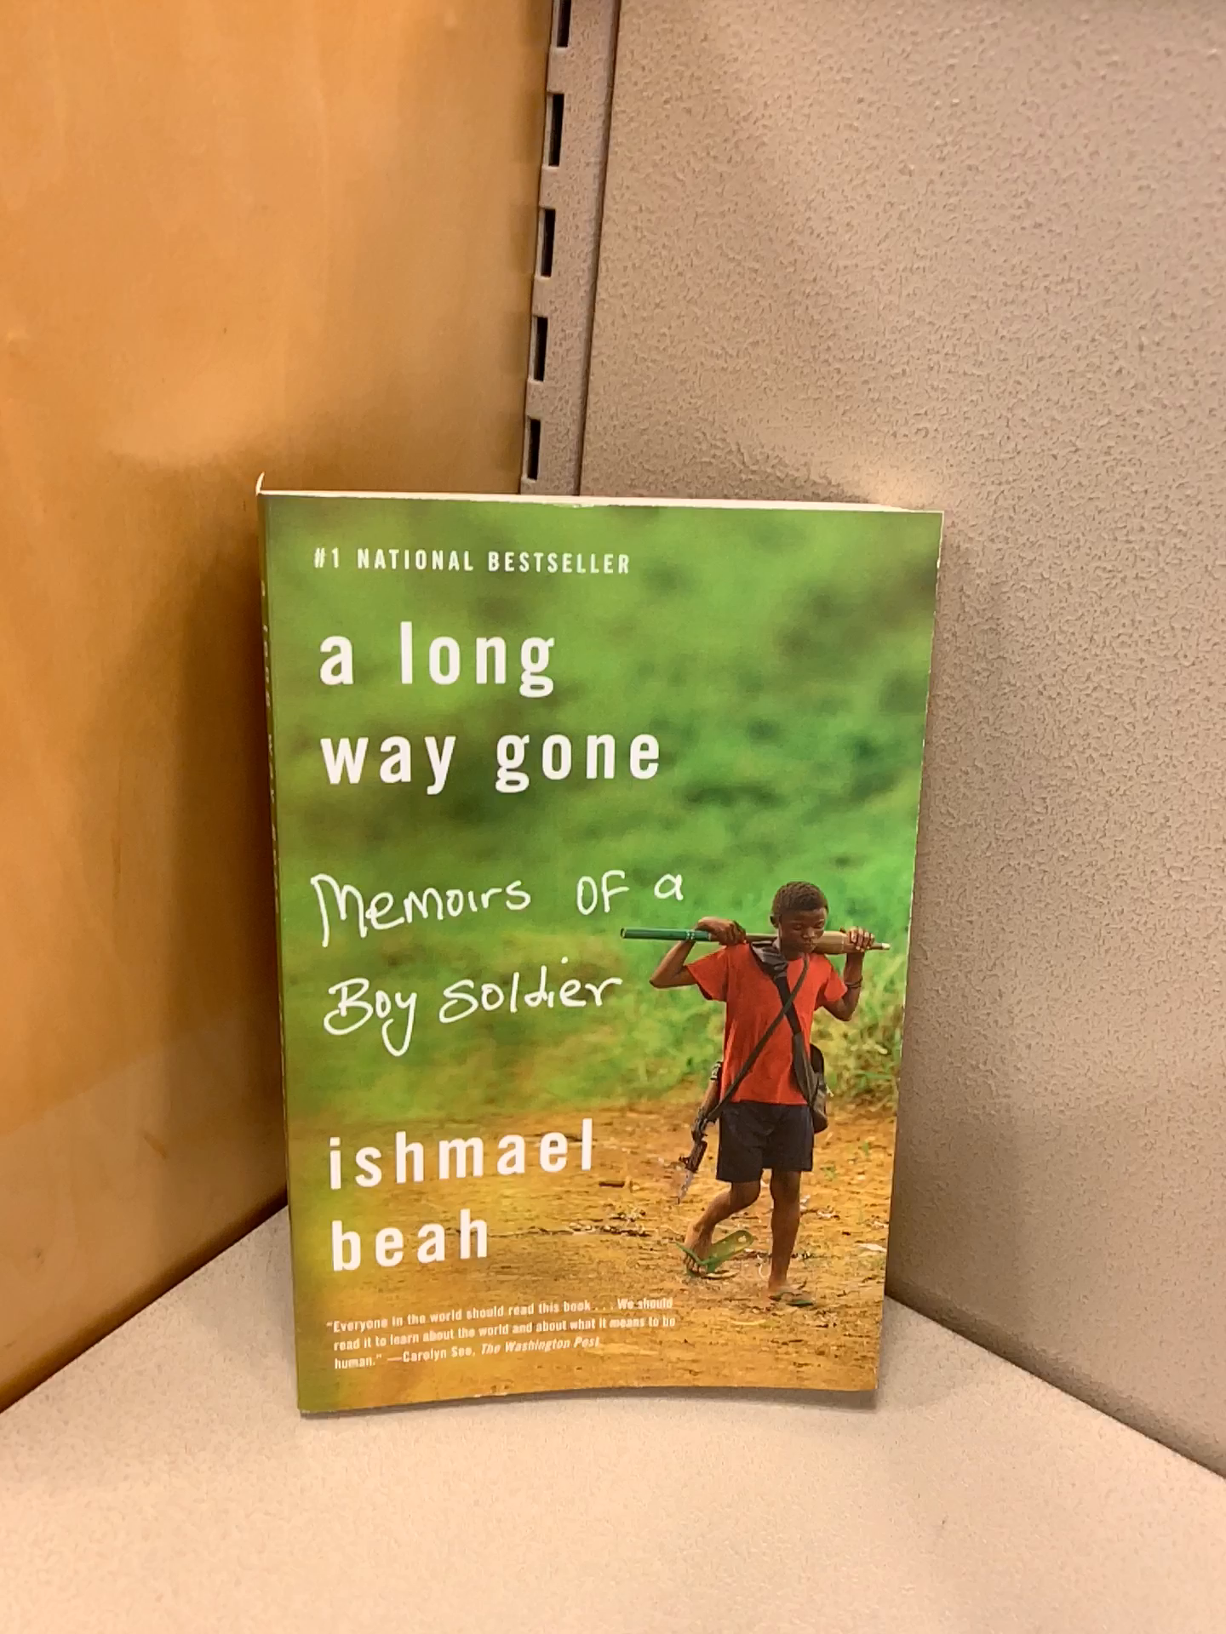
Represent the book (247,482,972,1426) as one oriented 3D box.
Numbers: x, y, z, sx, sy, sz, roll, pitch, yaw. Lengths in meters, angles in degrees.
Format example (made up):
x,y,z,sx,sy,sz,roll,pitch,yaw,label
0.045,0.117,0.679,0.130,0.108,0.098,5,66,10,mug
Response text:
x,y,z,sx,sy,sz,roll,pitch,yaw,label
-0.003,0.037,0.280,0.140,0.209,0.020,1,15,-5,book
